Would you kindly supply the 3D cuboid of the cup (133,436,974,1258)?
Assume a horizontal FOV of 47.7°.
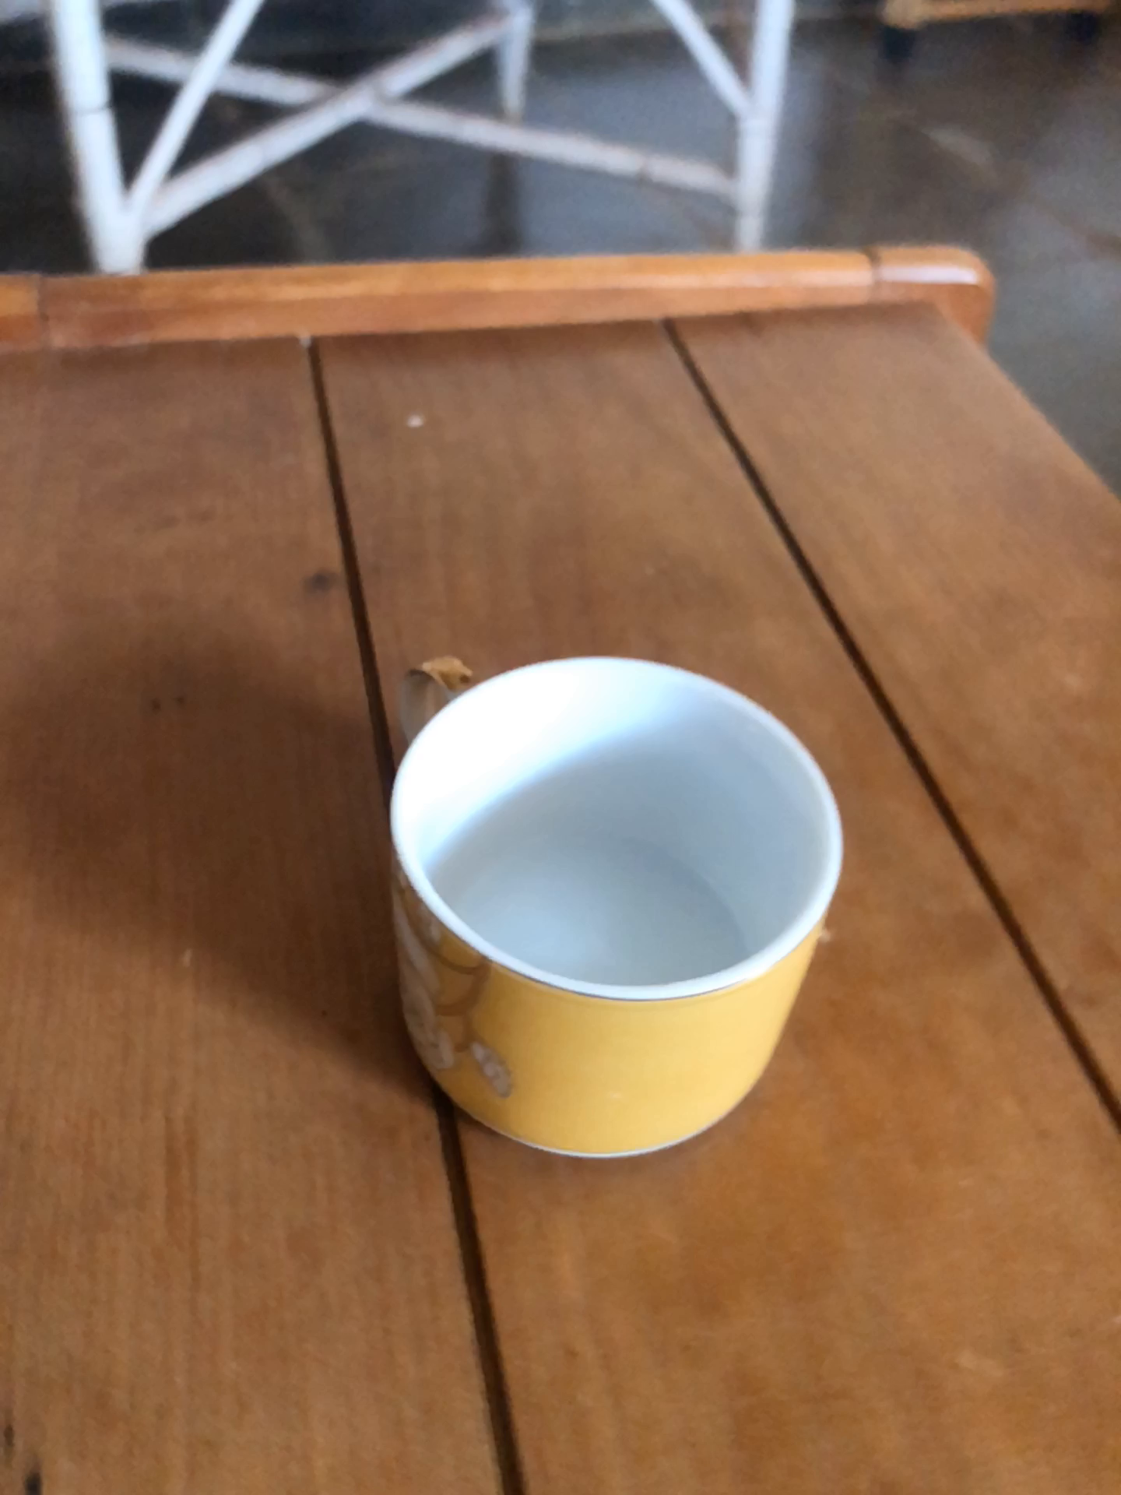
[{"bbox_3d":[-0.004,0.008,0.186,0.070,0.050,0.090,-30,56,-30],"label":"cup"}]
